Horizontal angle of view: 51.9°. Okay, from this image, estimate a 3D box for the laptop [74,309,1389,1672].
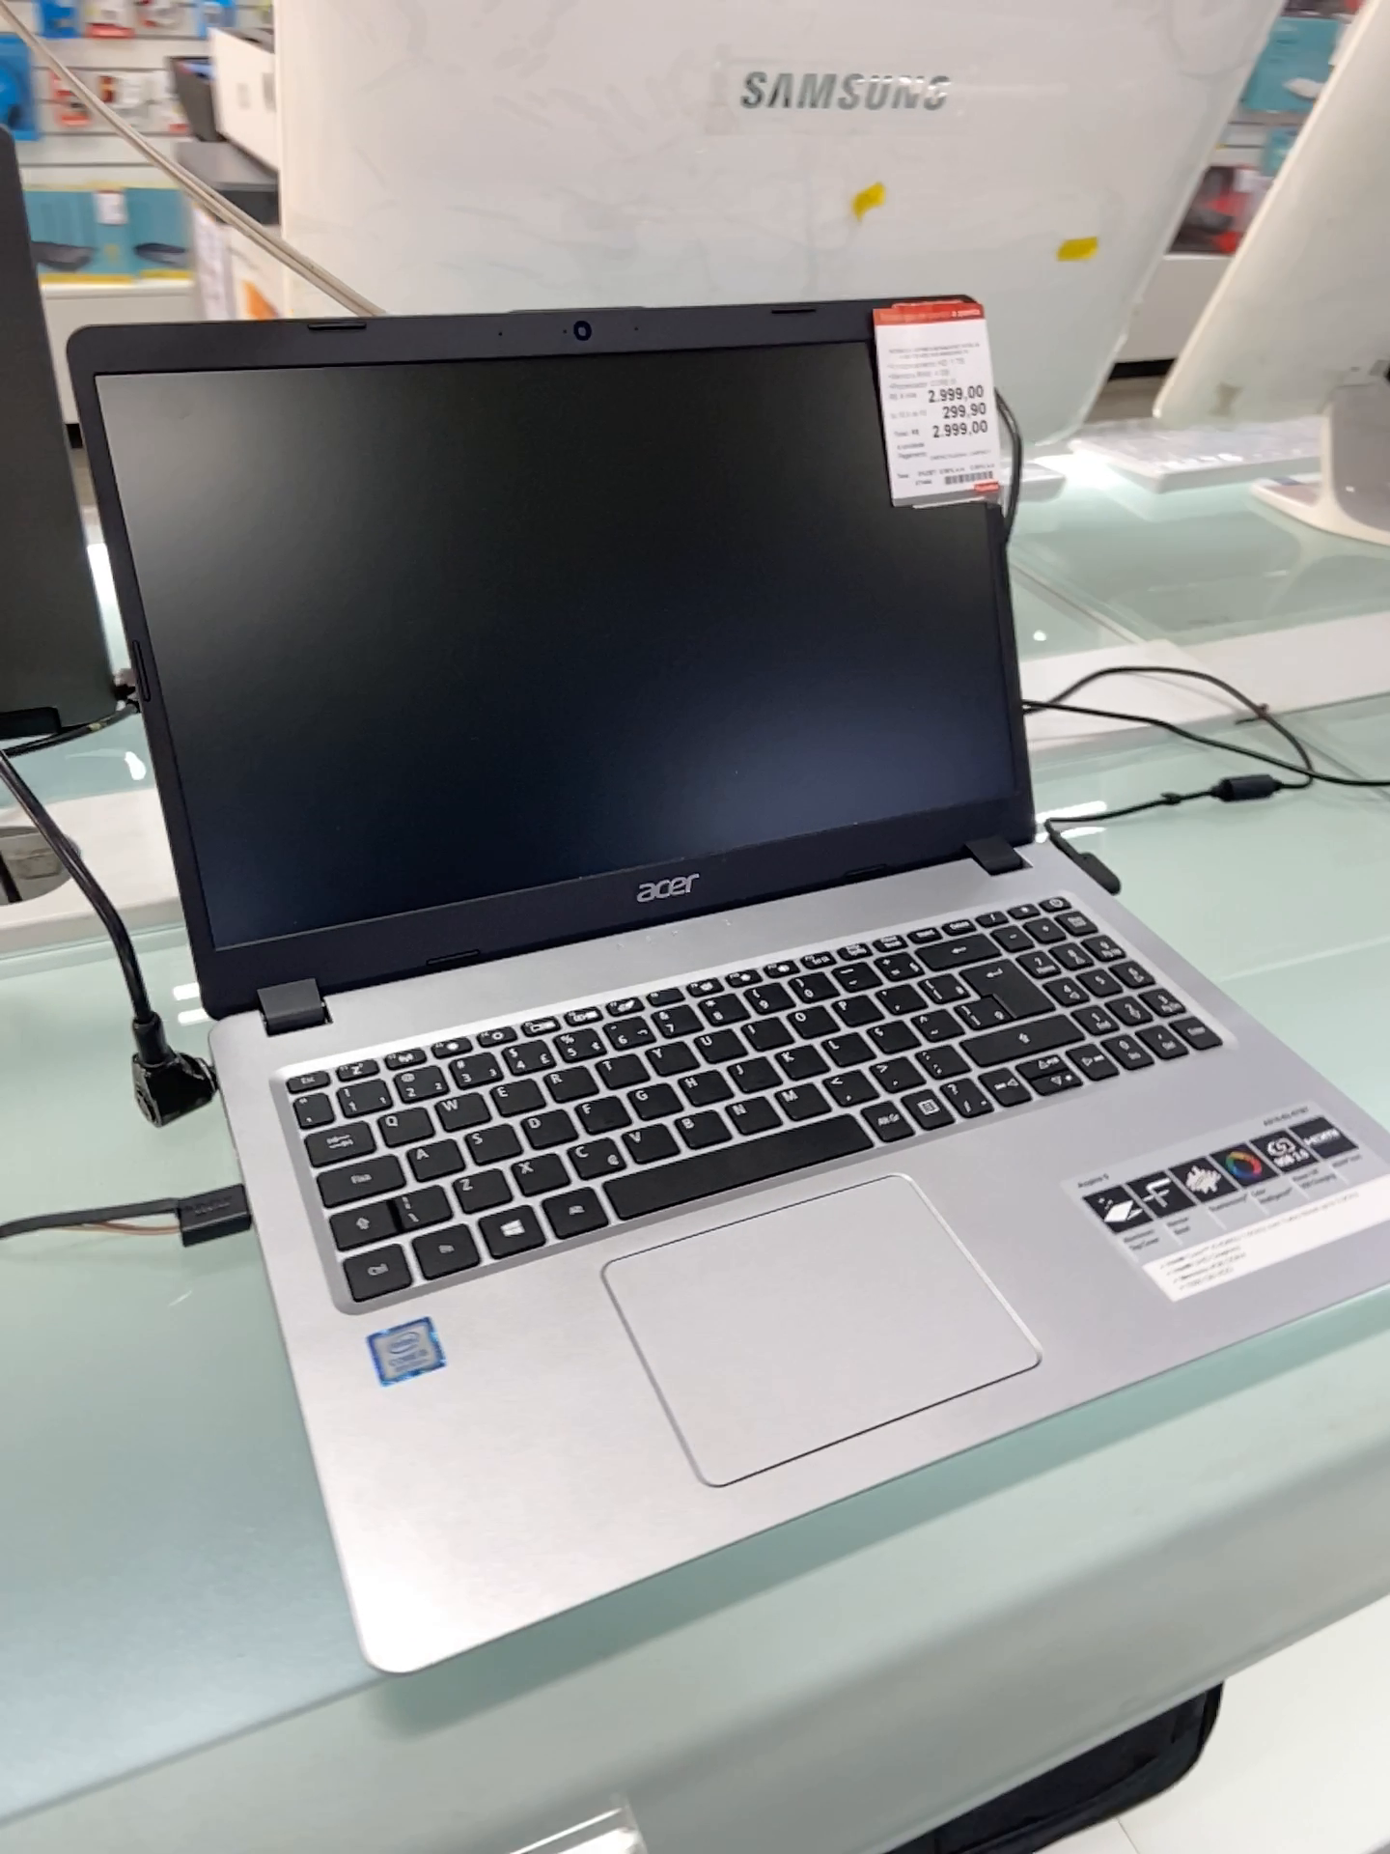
[{"bbox_3d":[0.025,-0.048,0.472,0.366,0.204,0.365,-12,38,-21],"label":"laptop"}]
